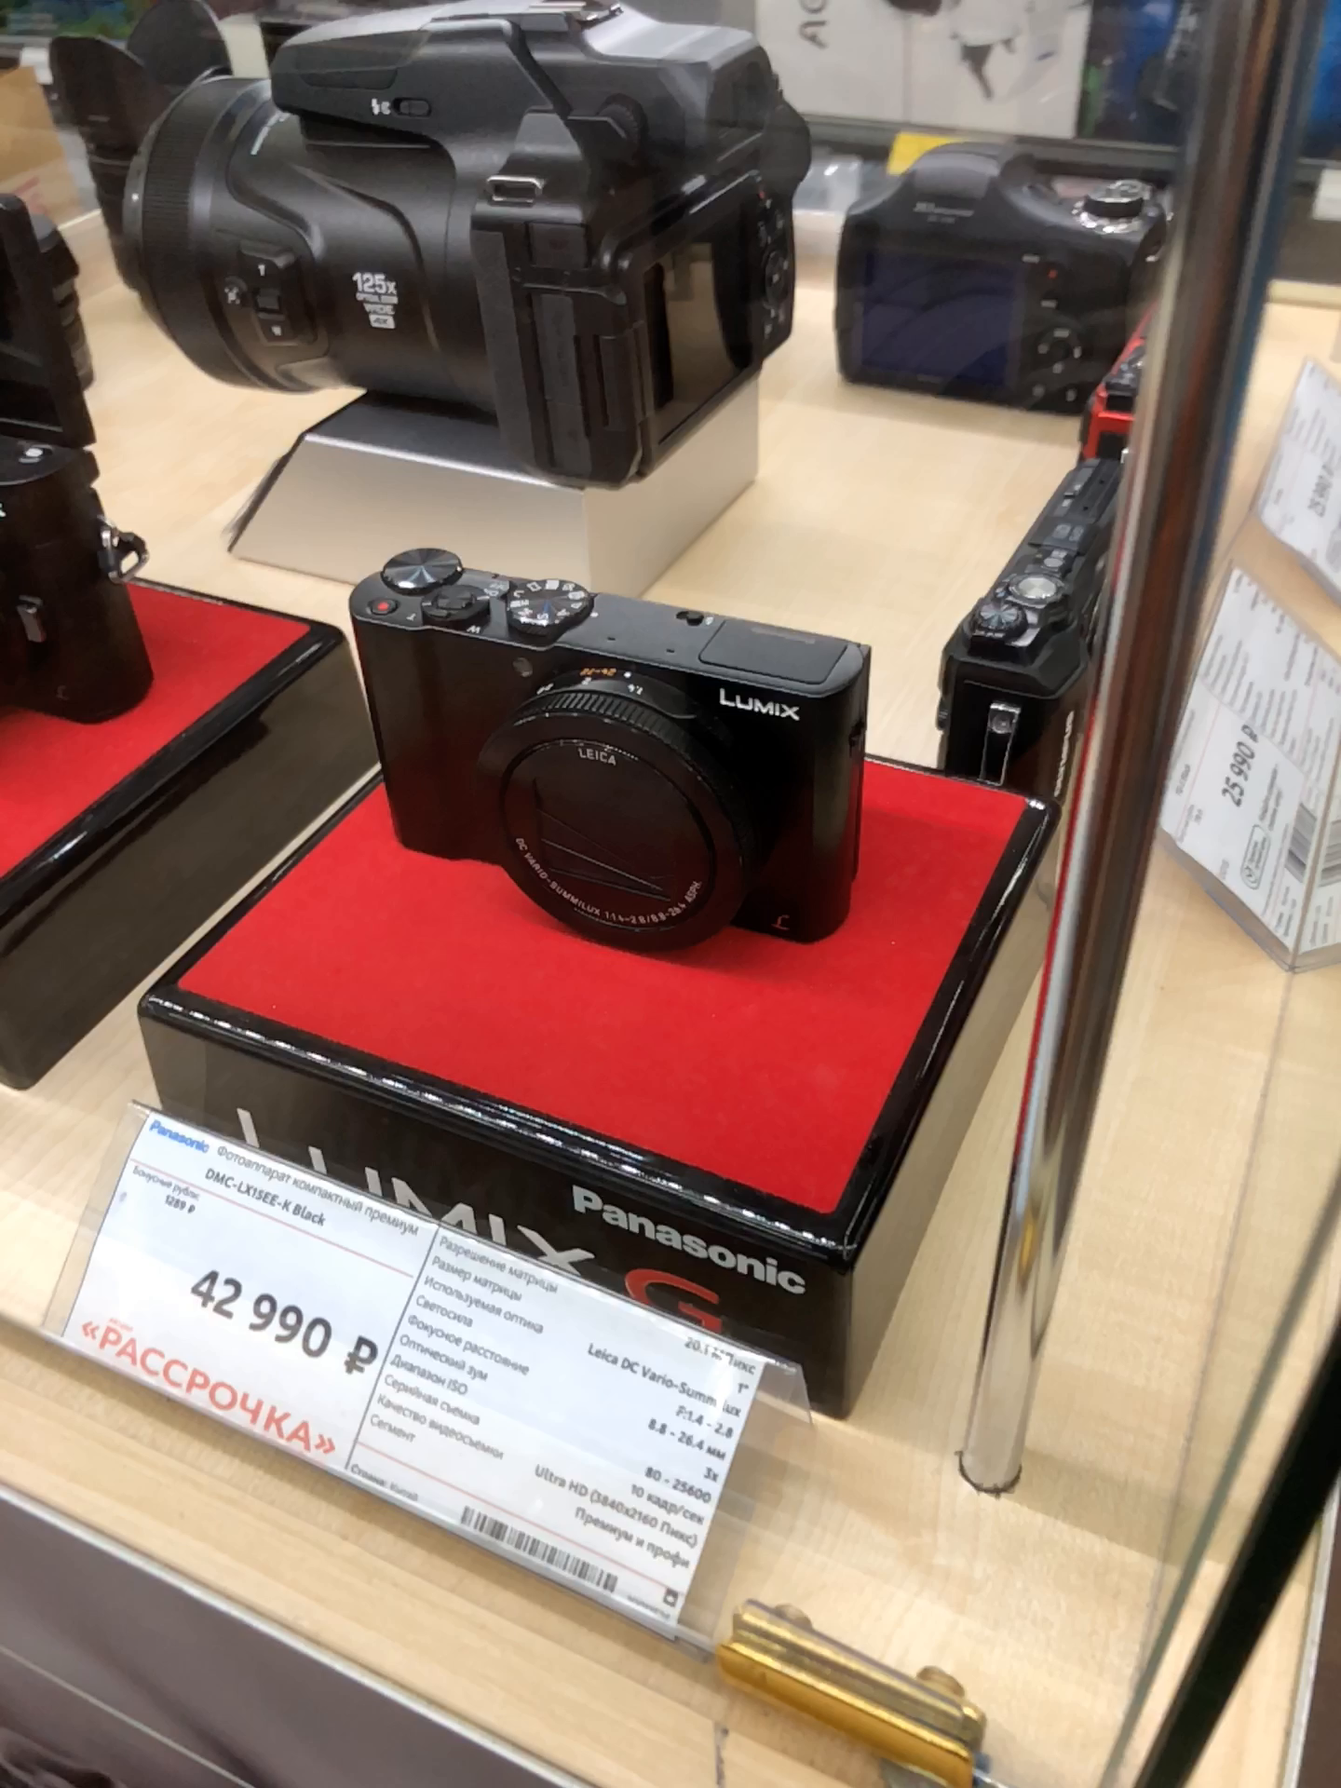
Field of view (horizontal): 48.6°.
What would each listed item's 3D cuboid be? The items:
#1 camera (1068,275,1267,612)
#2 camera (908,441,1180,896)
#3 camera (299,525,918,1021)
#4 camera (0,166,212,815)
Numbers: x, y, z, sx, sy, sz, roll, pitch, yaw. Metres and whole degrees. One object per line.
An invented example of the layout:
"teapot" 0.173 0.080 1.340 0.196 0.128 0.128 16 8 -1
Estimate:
"camera" 0.173 -0.158 0.515 0.033 0.072 0.111 15 43 20
"camera" 0.101 -0.064 0.401 0.033 0.072 0.110 17 44 21
"camera" -0.011 -0.026 0.302 0.110 0.070 0.040 14 42 18
"camera" -0.184 -0.094 0.343 0.110 0.112 0.066 15 43 20
